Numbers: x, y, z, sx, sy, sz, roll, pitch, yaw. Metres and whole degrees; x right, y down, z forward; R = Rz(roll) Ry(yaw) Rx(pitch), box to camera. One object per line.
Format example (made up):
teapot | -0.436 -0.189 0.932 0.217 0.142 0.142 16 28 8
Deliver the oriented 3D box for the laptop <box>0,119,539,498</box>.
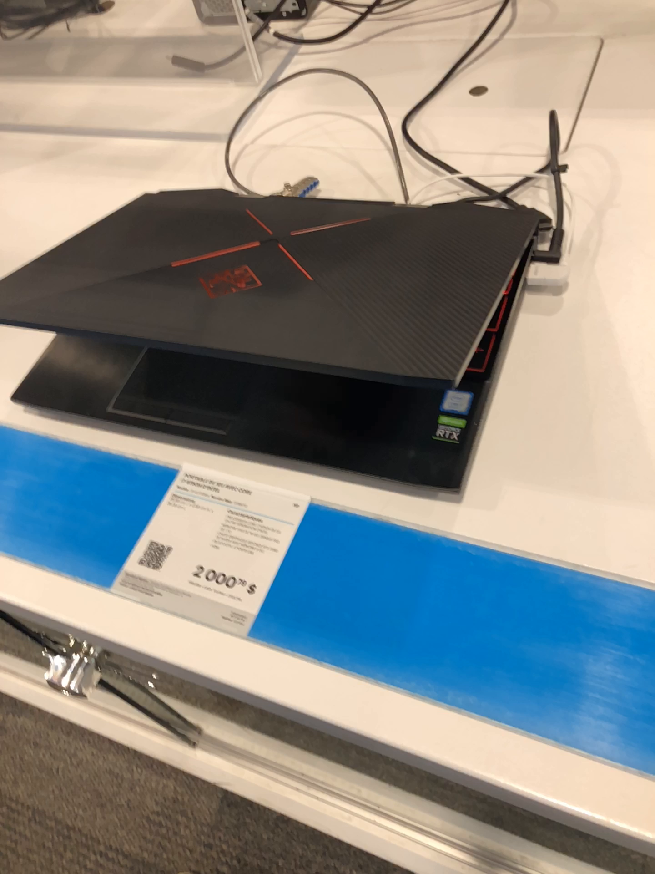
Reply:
laptop | -0.049 -0.115 0.515 0.346 0.085 0.235 11 58 22
